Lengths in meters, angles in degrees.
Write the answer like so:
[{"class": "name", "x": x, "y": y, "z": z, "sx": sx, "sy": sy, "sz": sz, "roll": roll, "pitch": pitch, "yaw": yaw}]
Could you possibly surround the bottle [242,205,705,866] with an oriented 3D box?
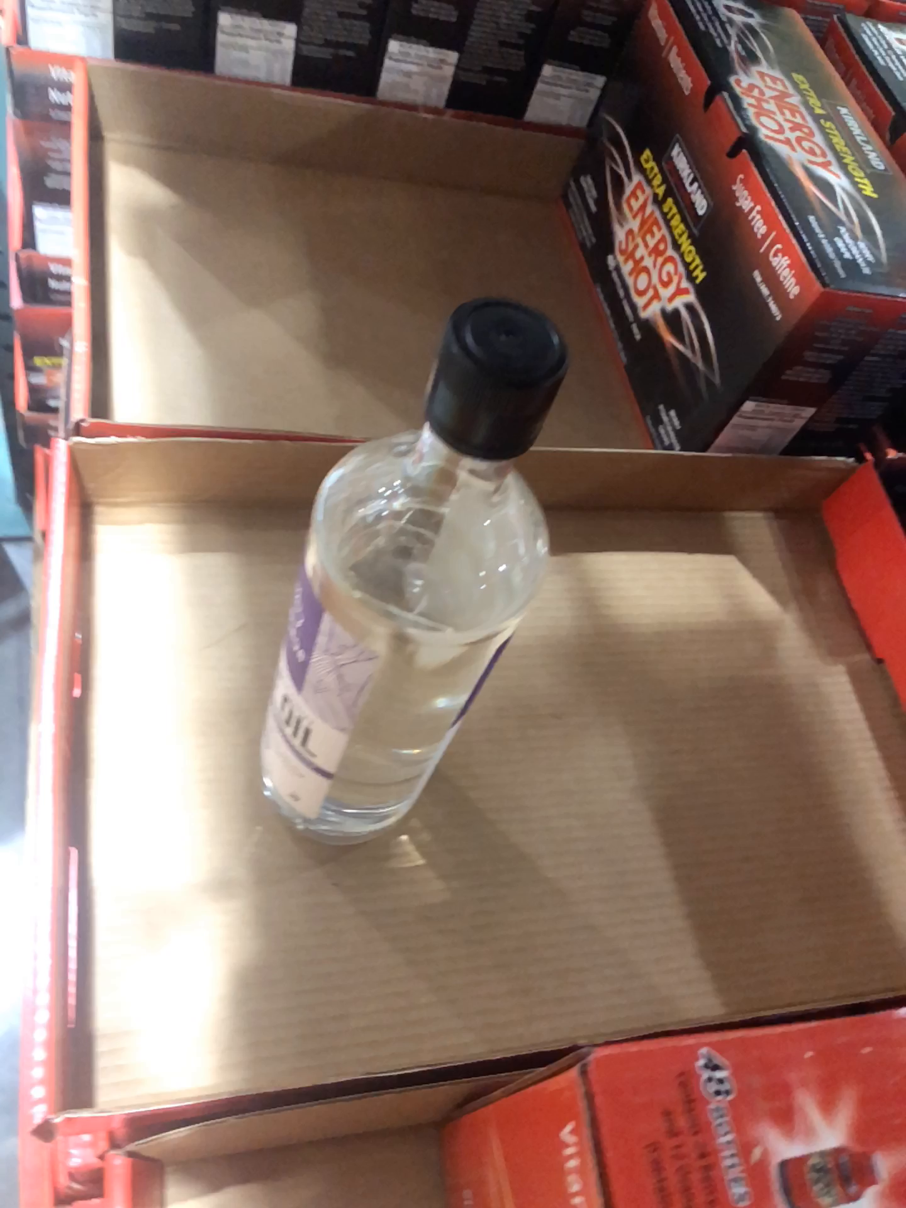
[{"class": "bottle", "x": -0.021, "y": 0.008, "z": 0.364, "sx": 0.080, "sy": 0.290, "sz": 0.078, "roll": 8, "pitch": 56, "yaw": -12}]
